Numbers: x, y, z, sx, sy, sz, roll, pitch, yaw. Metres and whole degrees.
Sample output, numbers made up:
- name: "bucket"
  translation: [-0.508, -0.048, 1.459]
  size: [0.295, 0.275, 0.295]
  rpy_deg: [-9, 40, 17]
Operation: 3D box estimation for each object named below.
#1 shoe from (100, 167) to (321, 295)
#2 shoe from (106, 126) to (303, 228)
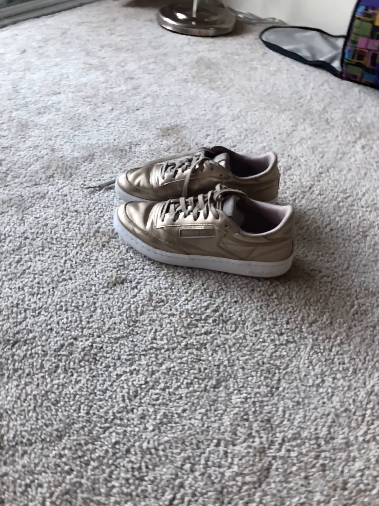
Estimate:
- name: "shoe"
  translation: [0.031, -0.035, 0.585]
  size: [0.280, 0.070, 0.110]
  rpy_deg: [12, 43, 6]
- name: "shoe"
  translation: [0.024, -0.121, 0.654]
  size: [0.280, 0.070, 0.110]
  rpy_deg: [8, 43, 2]
